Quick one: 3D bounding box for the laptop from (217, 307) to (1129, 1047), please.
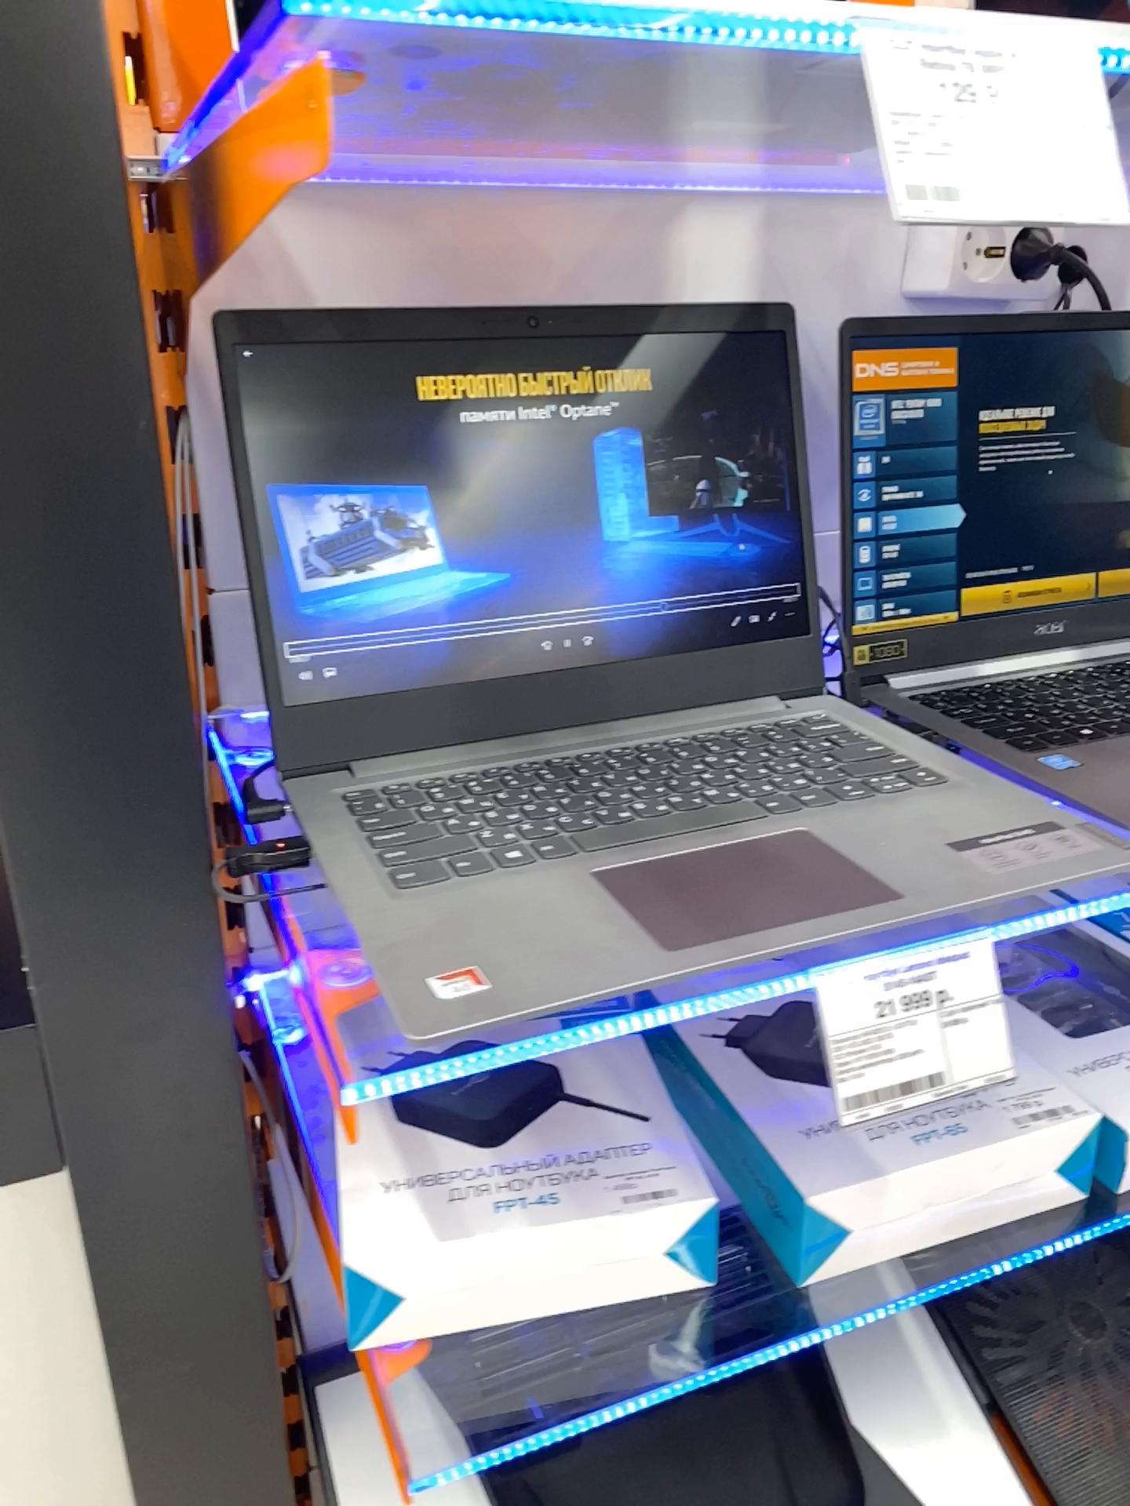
[{"bbox_3d":[0.043,-0.082,0.521,0.327,0.215,0.304,-9,23,-21],"label":"laptop"}]
